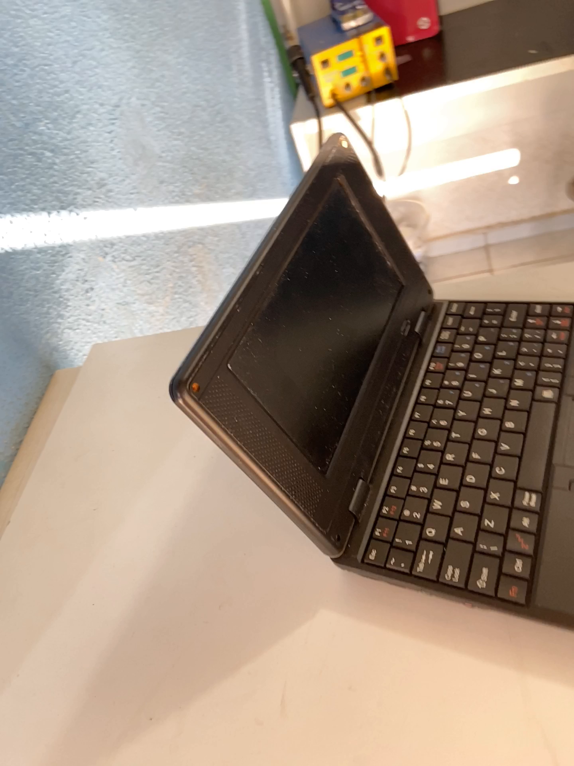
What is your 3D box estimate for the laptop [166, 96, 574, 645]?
[{"bbox_3d":[0.091,-0.020,0.312,0.179,0.137,0.217,6,51,28],"label":"laptop"}]
